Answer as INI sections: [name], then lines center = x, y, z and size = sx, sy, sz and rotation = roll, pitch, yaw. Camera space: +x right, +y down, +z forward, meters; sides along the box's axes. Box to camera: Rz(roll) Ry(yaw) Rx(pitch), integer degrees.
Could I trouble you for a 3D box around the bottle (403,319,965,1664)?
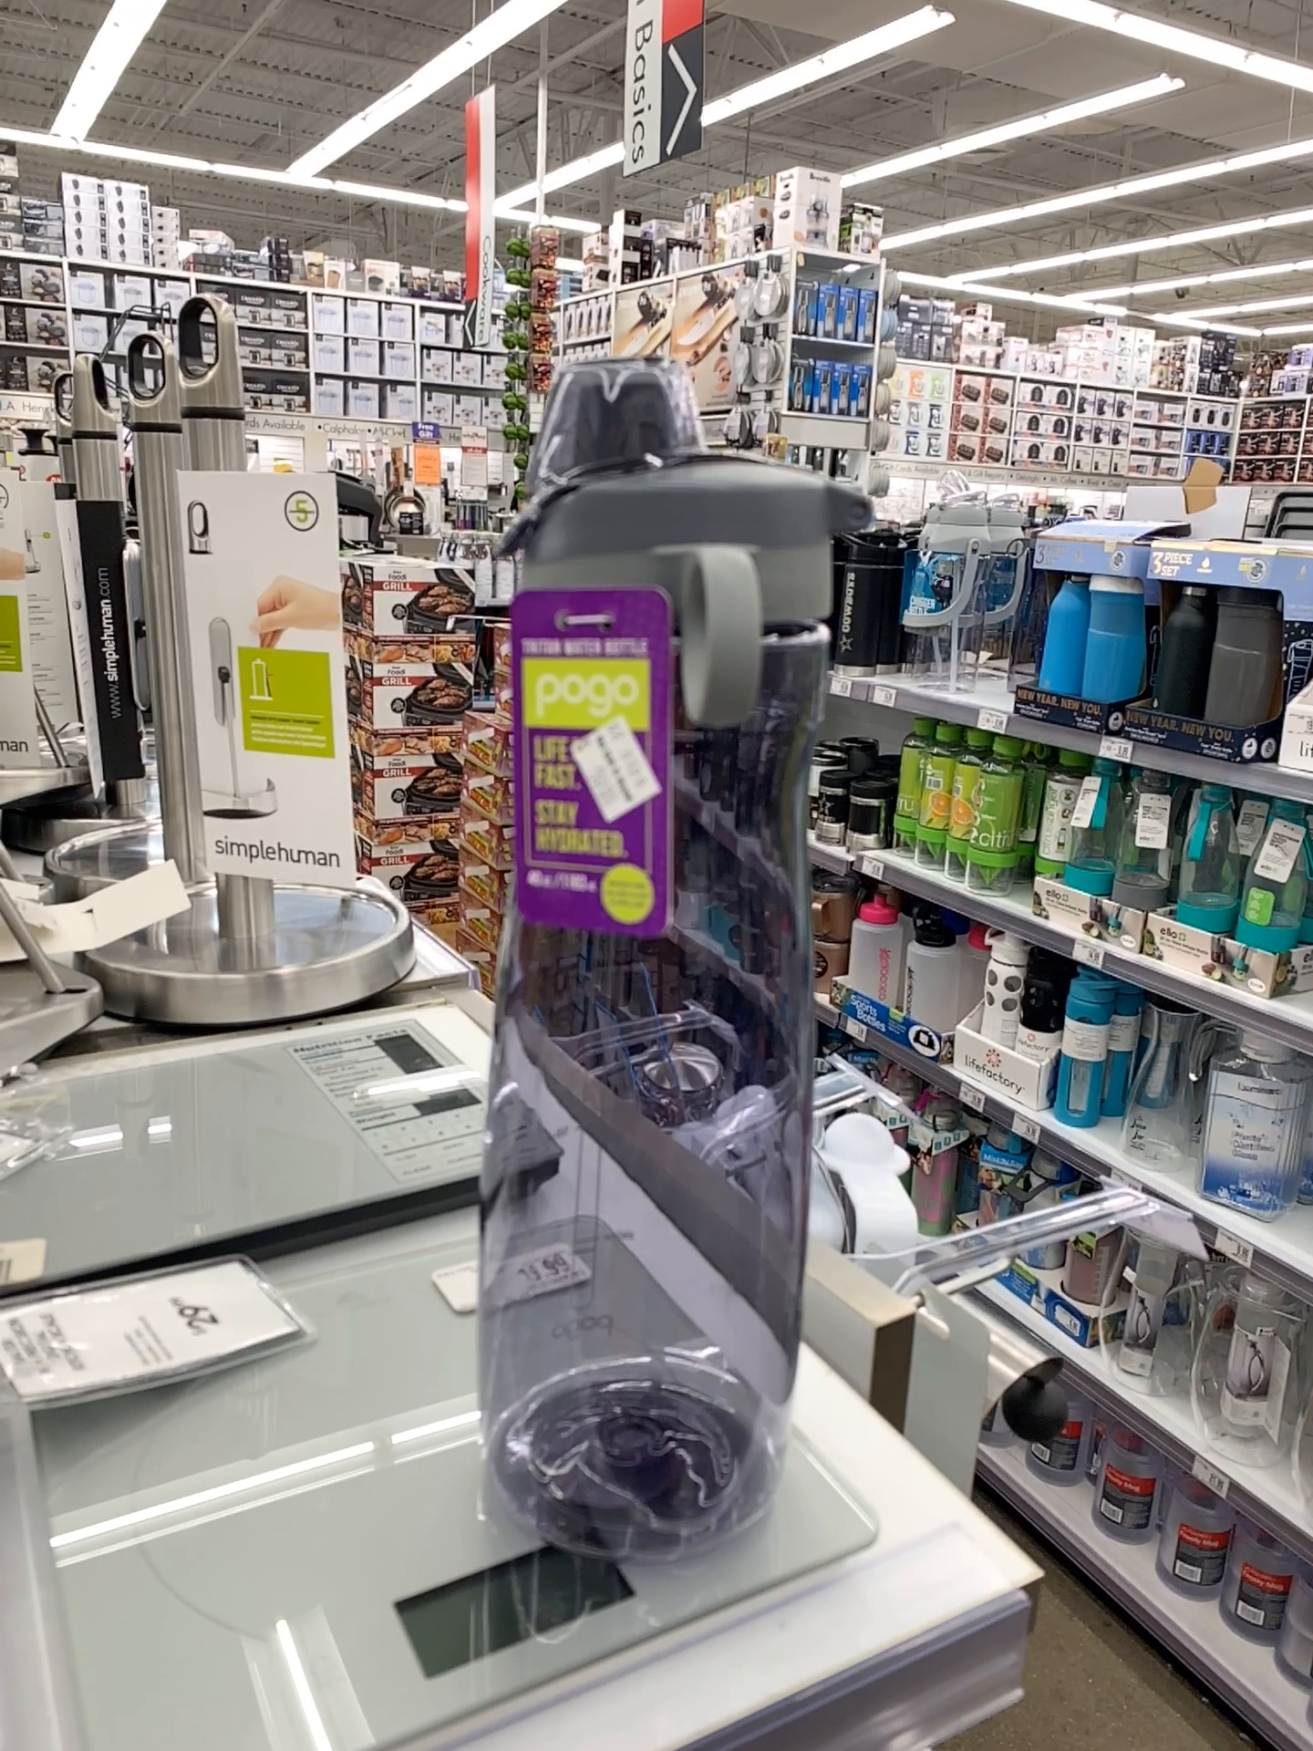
[bottle]
center = -0.006, 0.028, 0.354
size = 0.100, 0.309, 0.100
rotation = 3, 15, -1
